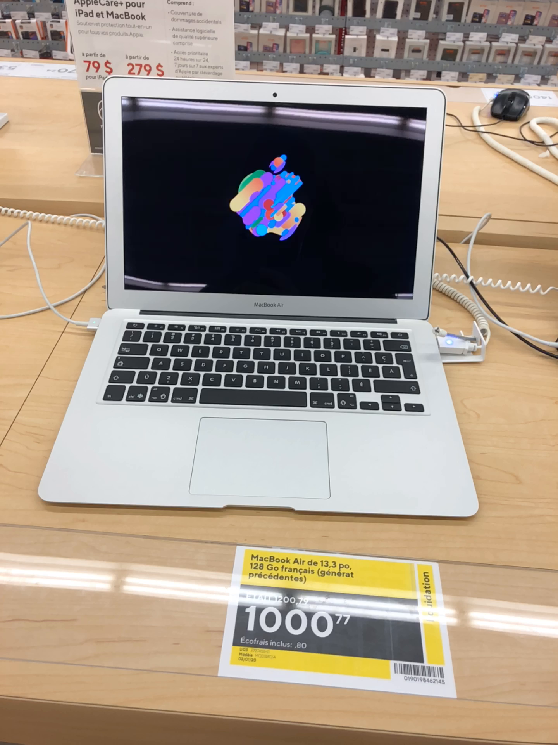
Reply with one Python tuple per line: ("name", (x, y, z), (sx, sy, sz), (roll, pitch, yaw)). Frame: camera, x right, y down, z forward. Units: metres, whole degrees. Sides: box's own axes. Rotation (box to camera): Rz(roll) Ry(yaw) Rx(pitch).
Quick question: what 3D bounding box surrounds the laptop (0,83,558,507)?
("laptop", (-0.009, -0.082, 0.495), (0.305, 0.186, 0.326), (2, 40, -2))
